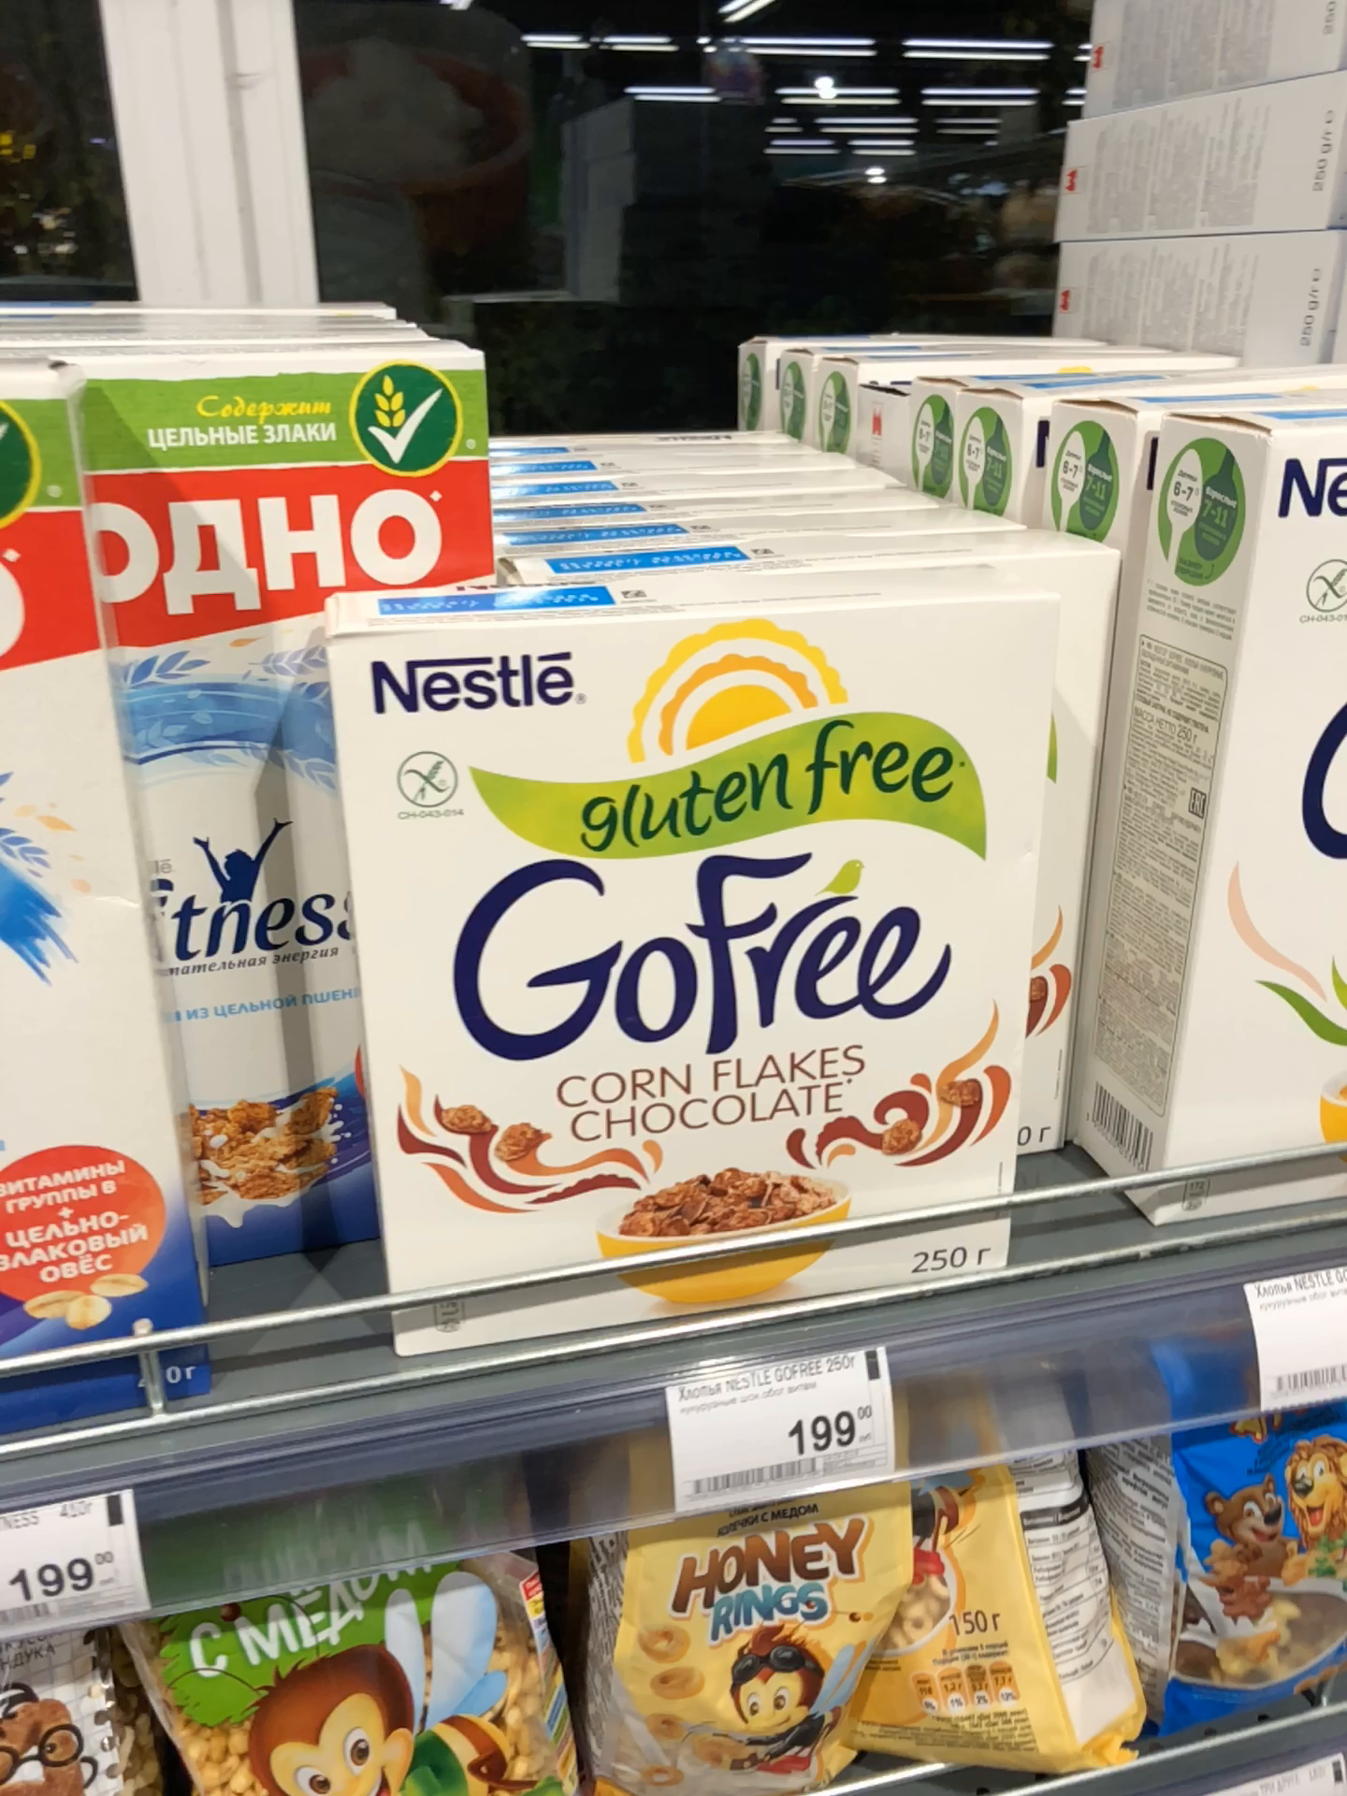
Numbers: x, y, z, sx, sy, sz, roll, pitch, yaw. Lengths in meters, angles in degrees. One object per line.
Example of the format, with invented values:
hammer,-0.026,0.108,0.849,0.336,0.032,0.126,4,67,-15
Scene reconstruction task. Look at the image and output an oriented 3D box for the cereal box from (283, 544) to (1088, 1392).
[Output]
cereal box,0.003,0.018,0.426,0.200,0.219,0.060,-5,22,-11
